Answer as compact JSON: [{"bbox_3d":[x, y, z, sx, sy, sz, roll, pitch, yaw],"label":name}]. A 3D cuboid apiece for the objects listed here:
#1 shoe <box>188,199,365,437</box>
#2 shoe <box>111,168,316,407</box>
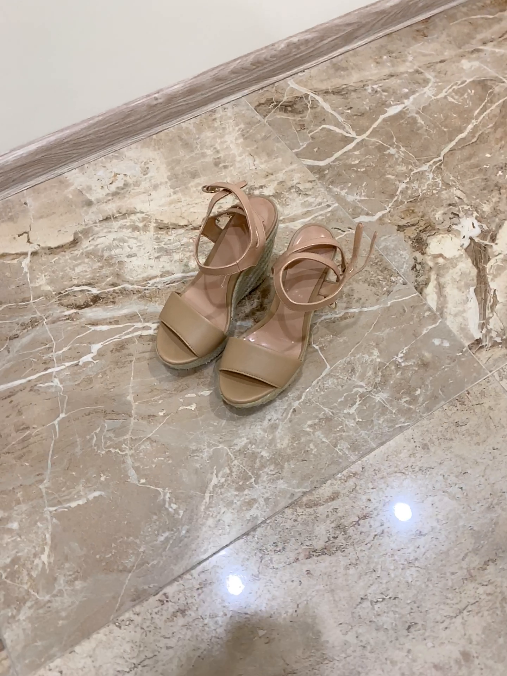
[{"bbox_3d":[0.029,-0.021,0.574,0.090,0.130,0.210,25,66,13],"label":"shoe"},{"bbox_3d":[-0.034,-0.053,0.583,0.090,0.150,0.210,34,68,16],"label":"shoe"}]
